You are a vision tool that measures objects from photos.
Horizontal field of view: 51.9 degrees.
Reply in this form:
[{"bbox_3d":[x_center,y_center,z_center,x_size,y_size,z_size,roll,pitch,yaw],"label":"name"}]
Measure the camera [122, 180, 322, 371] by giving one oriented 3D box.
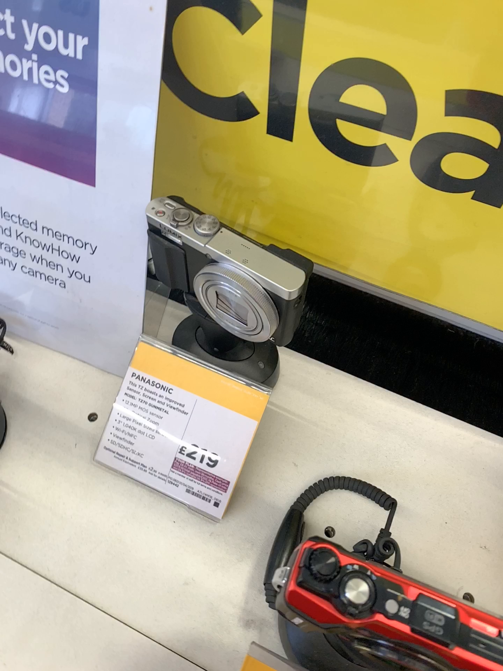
[{"bbox_3d":[-0.019,-0.036,0.322,0.110,0.070,0.040,30,62,16],"label":"camera"}]
